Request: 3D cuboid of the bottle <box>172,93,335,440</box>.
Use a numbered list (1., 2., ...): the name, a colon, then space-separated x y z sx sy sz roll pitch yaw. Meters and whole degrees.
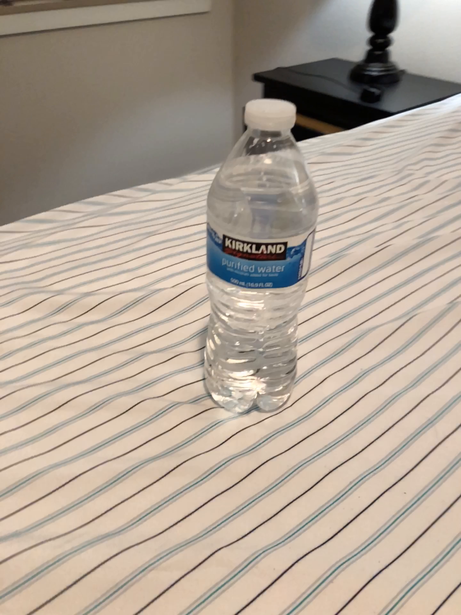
1. bottle: 0.016 -0.017 0.317 0.070 0.199 0.070 0 36 0
